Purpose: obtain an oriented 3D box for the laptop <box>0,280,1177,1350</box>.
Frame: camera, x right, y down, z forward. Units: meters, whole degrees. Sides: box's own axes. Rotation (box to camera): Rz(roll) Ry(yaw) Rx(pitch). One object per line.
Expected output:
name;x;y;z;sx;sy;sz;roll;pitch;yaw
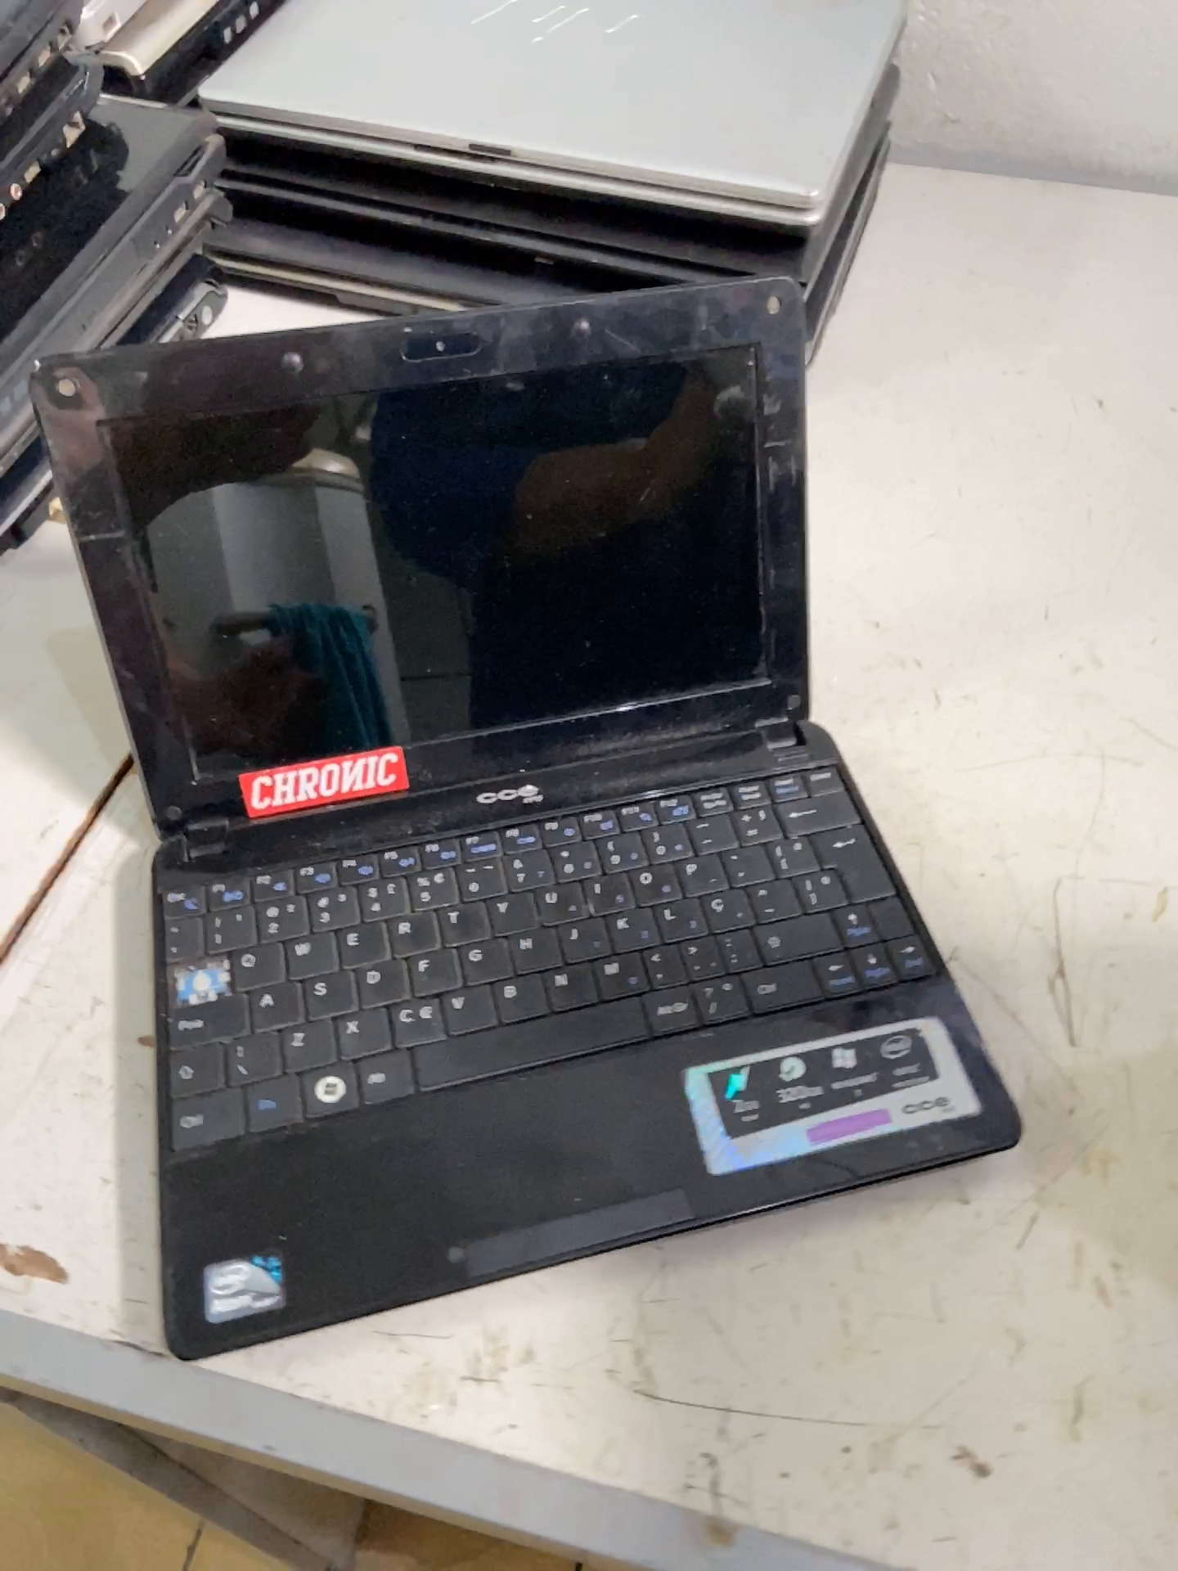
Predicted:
laptop;-0.022;-0.010;0.376;0.253;0.137;0.258;-11;53;-9
